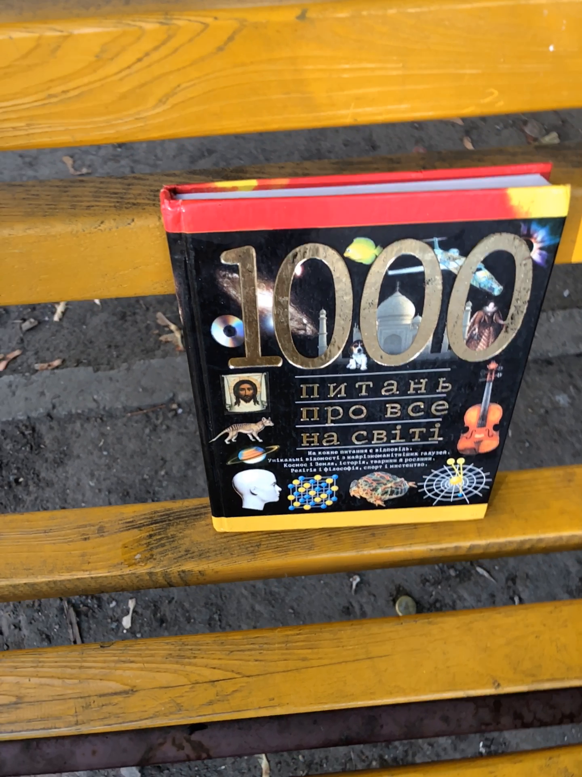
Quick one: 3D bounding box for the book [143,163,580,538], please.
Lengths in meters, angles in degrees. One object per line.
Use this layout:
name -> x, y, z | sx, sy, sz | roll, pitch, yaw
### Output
book -> 0.031, -0.004, 0.328 | 0.172, 0.201, 0.032 | -3, 39, -1
